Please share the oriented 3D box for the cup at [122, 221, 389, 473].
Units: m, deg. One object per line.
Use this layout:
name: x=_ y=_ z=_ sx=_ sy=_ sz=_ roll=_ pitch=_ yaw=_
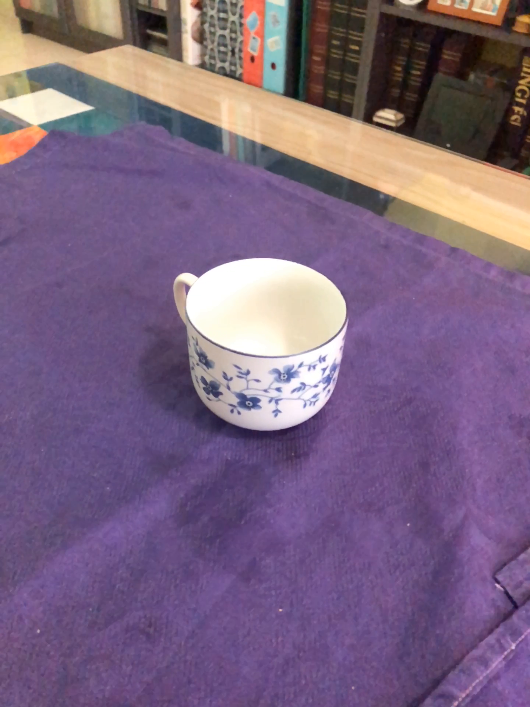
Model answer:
cup: x=-0.005 y=-0.008 z=0.289 sx=0.100 sy=0.060 sz=0.070 roll=29 pitch=48 yaw=27
